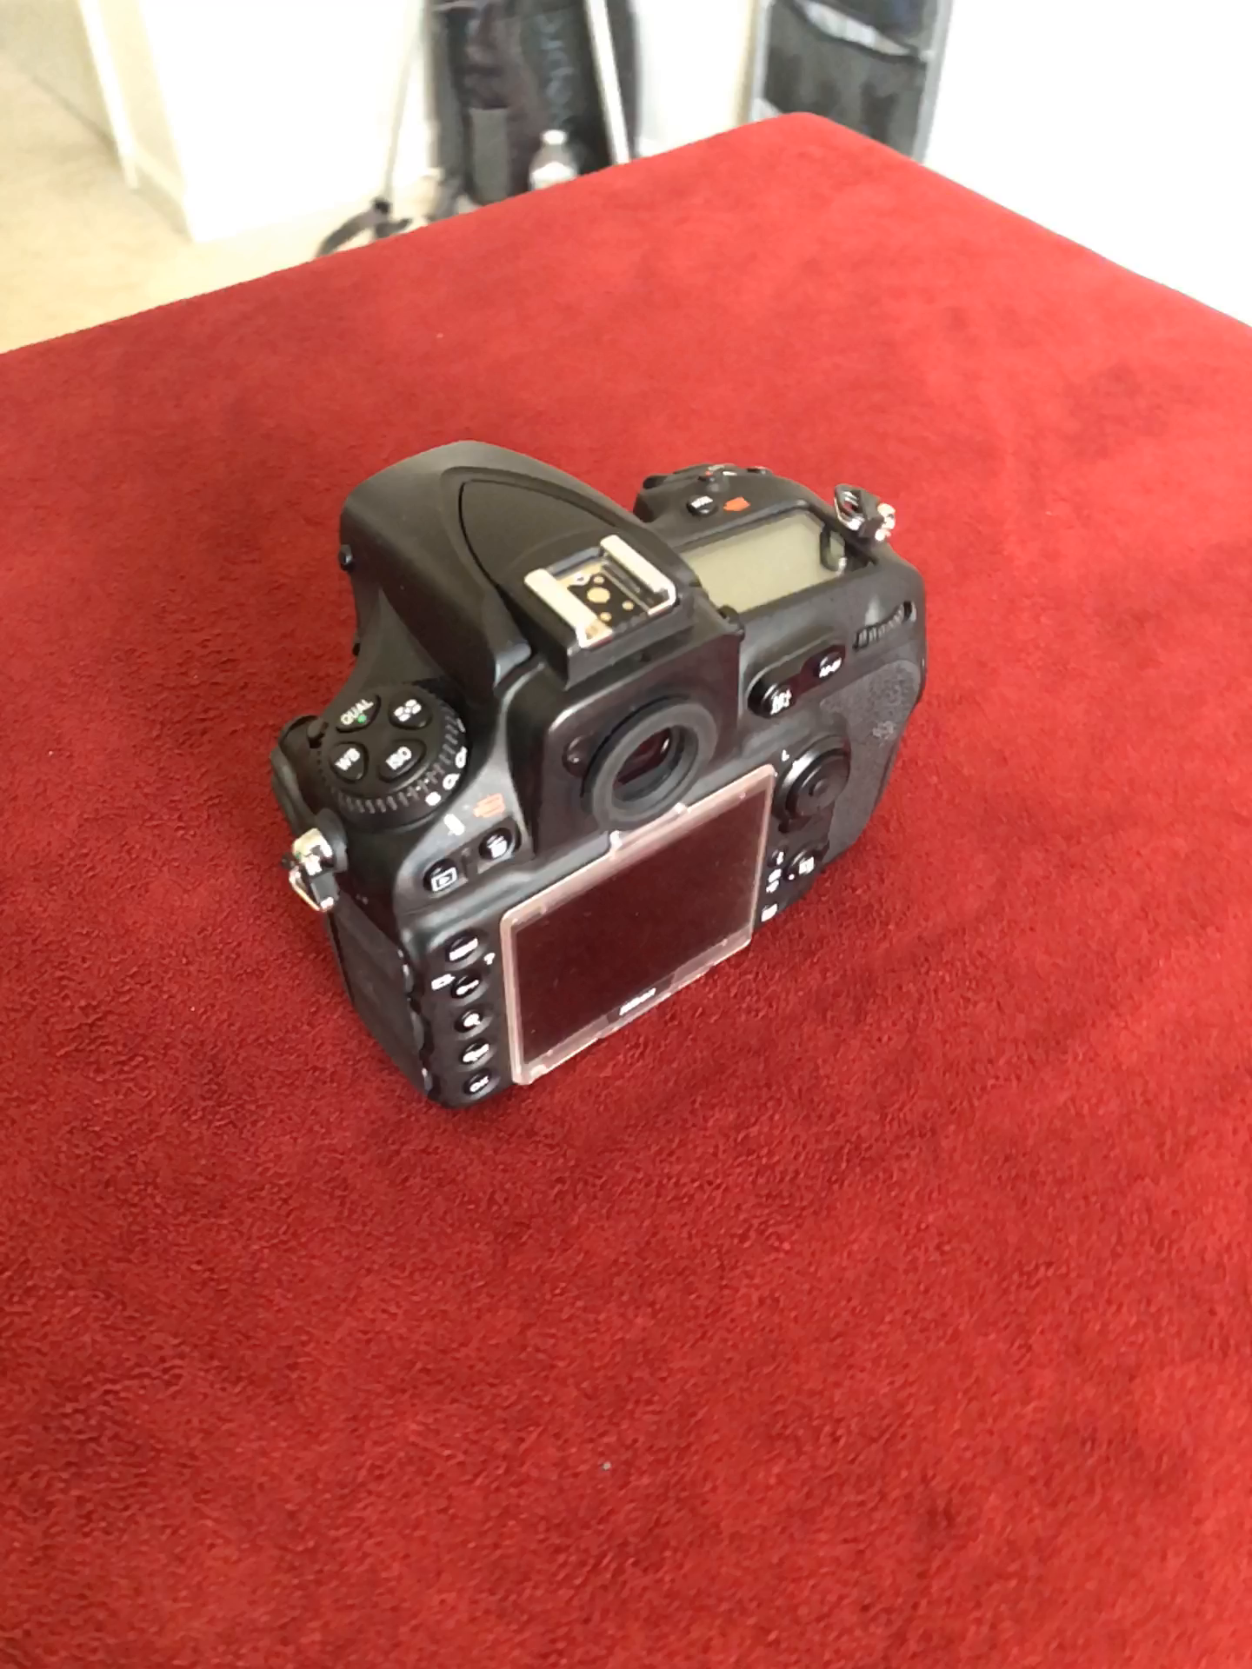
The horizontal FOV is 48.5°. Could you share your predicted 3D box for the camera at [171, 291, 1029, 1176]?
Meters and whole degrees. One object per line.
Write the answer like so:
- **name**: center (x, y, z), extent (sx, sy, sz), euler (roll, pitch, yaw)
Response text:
- **camera**: center (-0.002, -0.025, 0.316), extent (0.146, 0.129, 0.083), euler (-30, 54, -25)
